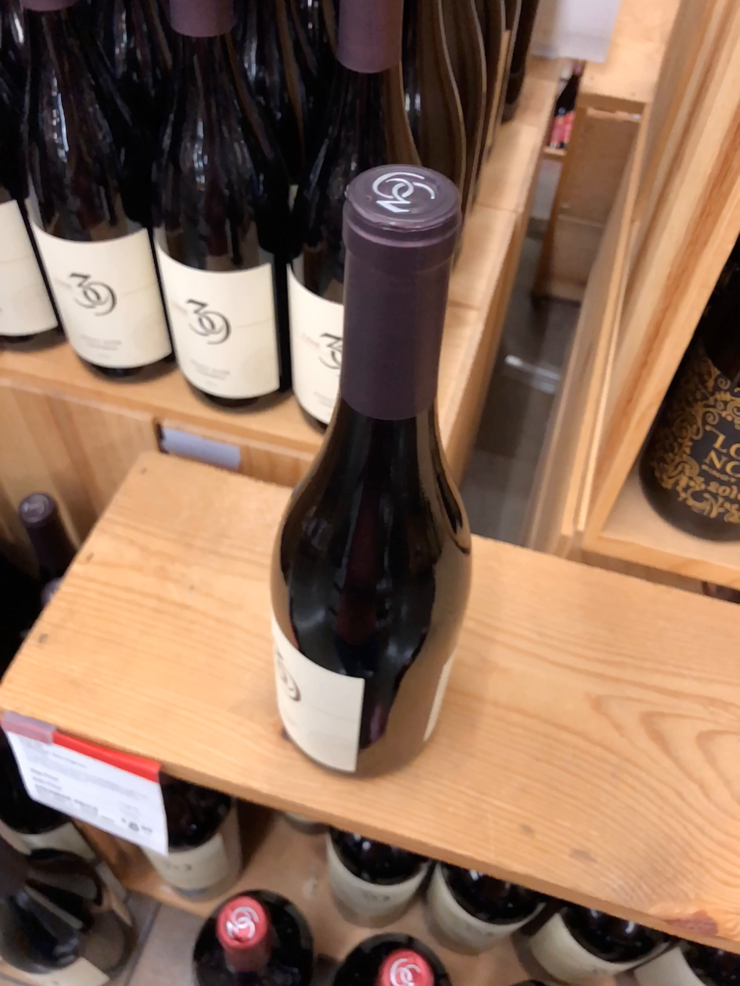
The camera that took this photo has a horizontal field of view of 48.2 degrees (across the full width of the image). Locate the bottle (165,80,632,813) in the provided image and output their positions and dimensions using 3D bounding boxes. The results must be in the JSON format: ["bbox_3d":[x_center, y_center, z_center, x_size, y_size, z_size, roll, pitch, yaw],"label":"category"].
[{"bbox_3d":[-0.003,0.019,0.297,0.080,0.283,0.080,1,52,-2],"label":"bottle"}]
